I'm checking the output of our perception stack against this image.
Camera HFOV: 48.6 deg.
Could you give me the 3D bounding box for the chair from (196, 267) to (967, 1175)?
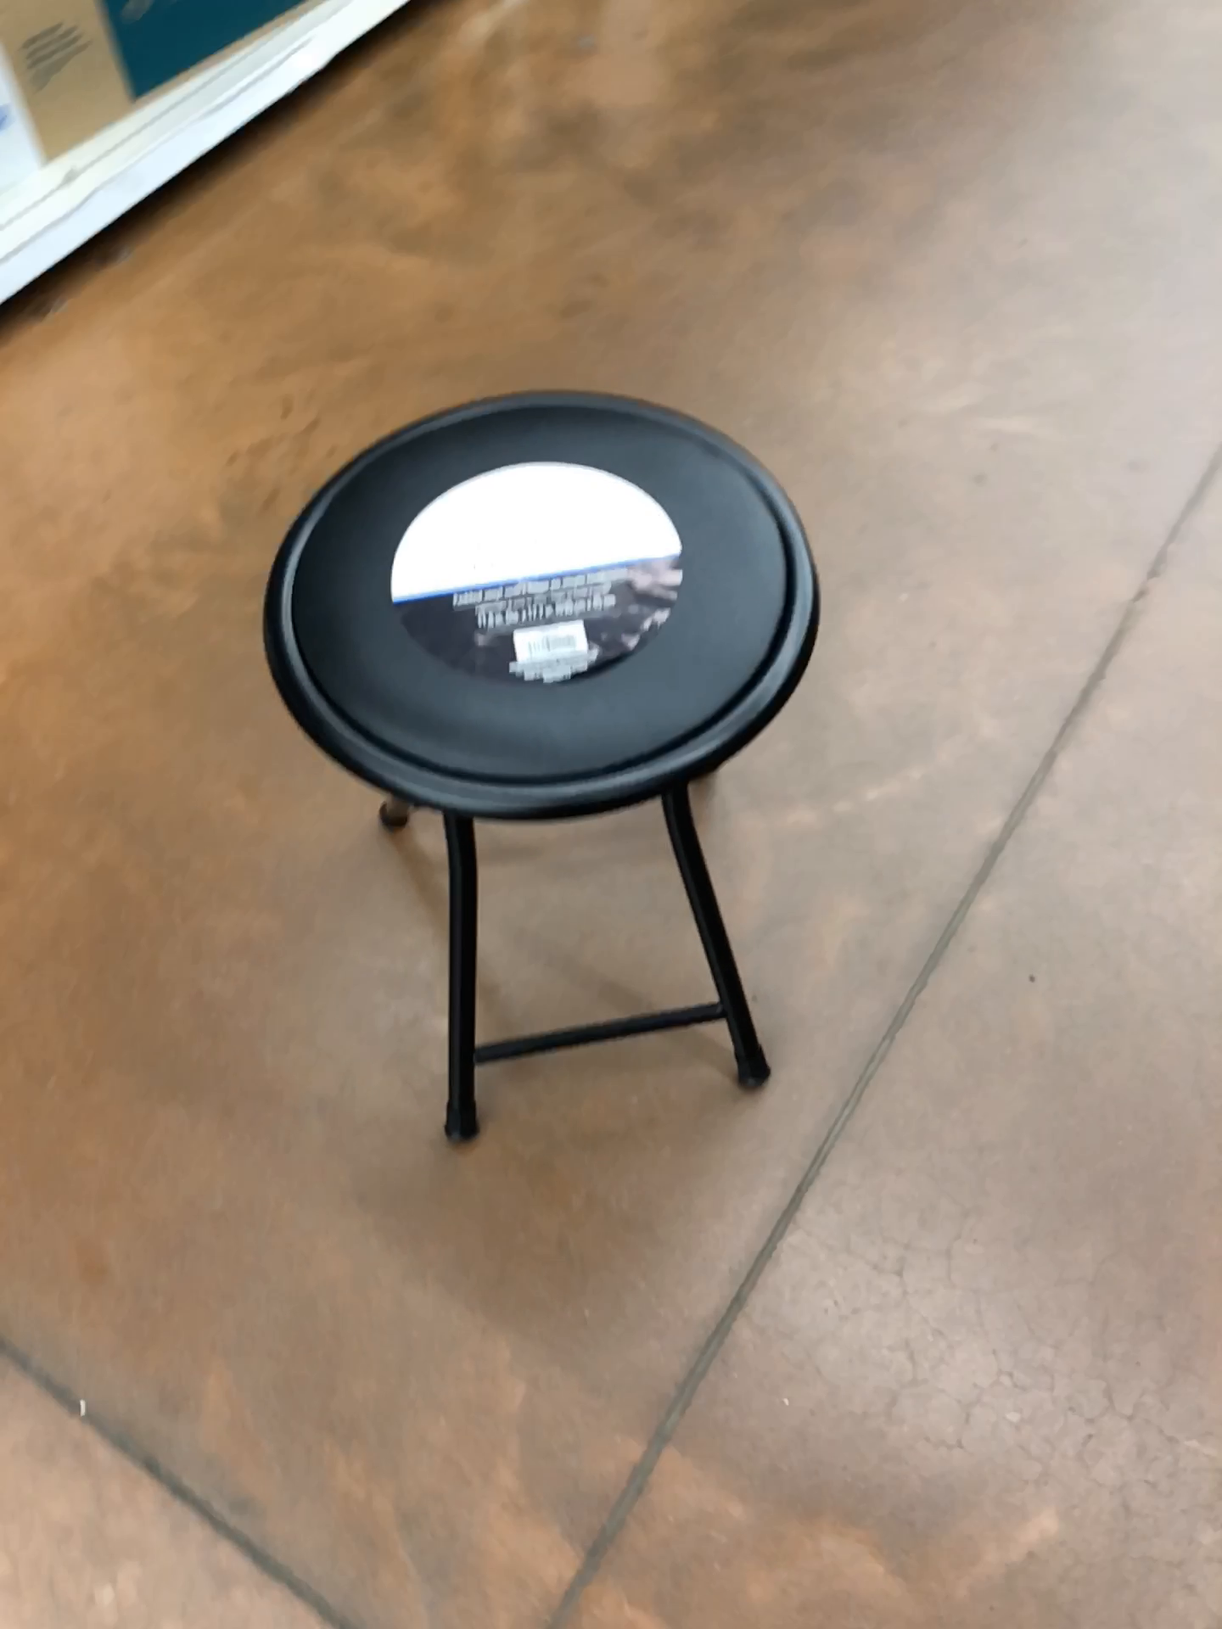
[{"bbox_3d":[-0.030,-0.036,0.828,0.320,0.399,0.331,-11,57,-5],"label":"chair"}]
